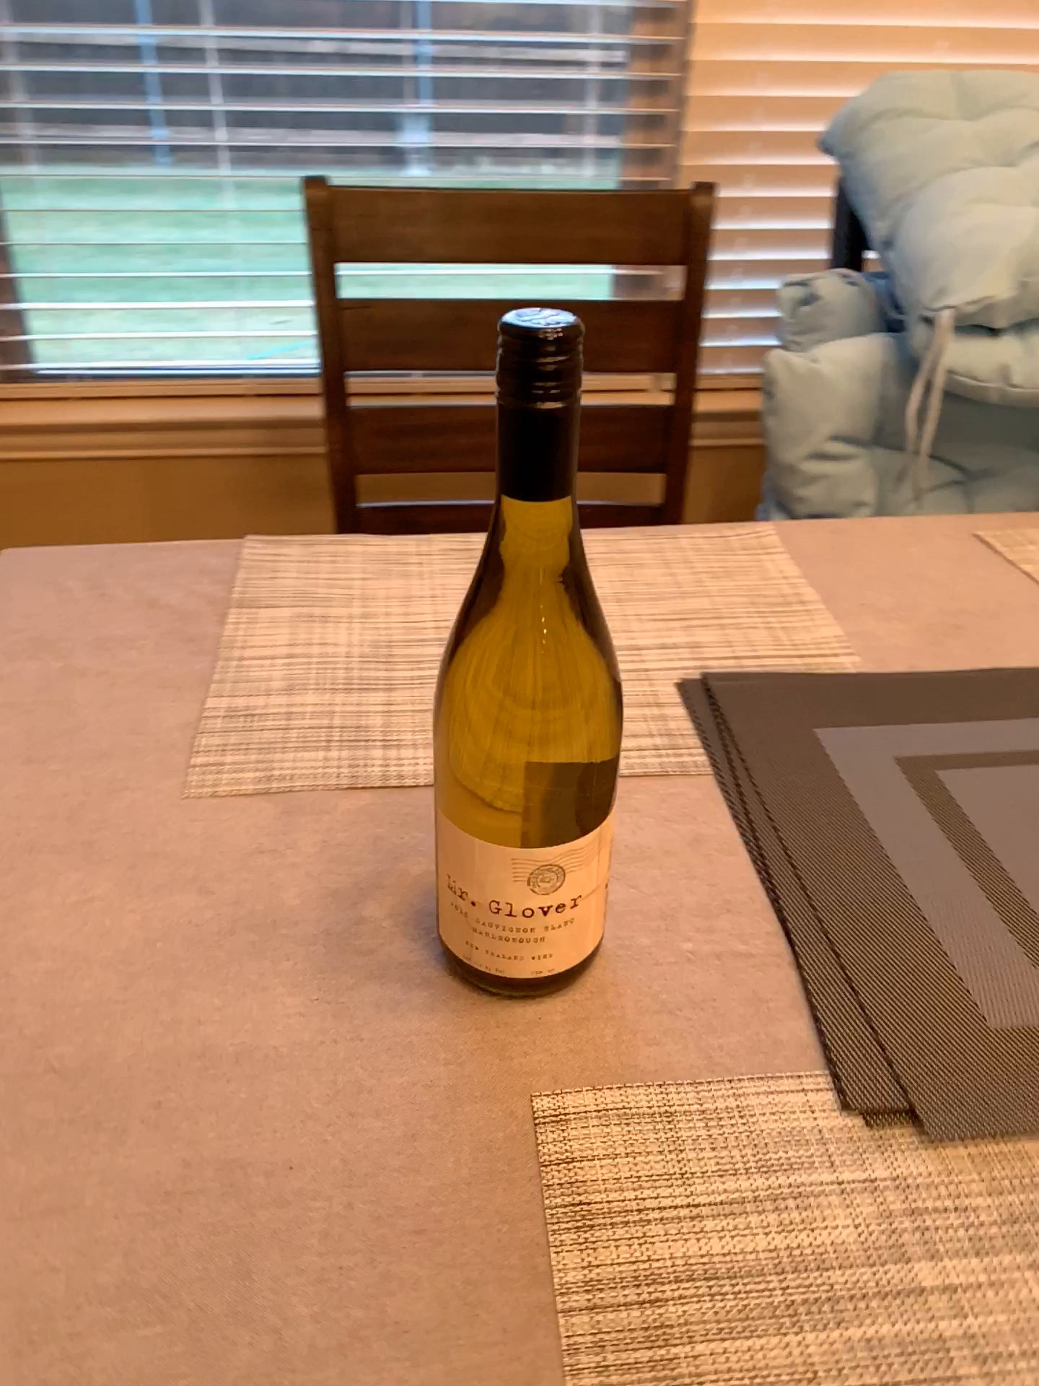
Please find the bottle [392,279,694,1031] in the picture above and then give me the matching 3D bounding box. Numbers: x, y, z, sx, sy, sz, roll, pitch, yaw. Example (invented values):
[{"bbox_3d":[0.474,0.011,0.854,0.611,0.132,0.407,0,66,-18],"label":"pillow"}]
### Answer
[{"bbox_3d":[0.006,-0.001,0.436,0.090,0.298,0.090,1,34,-1],"label":"bottle"}]
